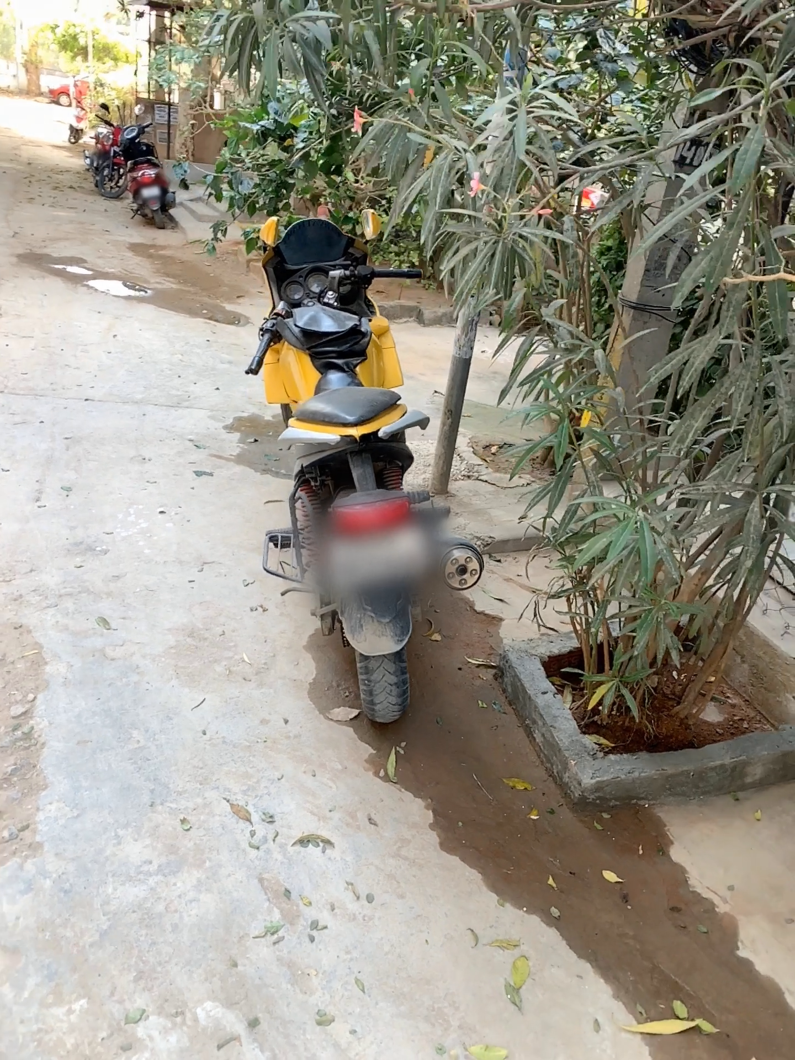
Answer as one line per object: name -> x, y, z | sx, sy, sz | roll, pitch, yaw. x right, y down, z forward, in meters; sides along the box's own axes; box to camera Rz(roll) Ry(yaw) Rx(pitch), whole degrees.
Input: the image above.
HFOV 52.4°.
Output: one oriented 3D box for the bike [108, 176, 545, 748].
bike -> -0.423, -0.352, 2.492 | 0.853, 0.954, 1.754 | 0, 31, -17
